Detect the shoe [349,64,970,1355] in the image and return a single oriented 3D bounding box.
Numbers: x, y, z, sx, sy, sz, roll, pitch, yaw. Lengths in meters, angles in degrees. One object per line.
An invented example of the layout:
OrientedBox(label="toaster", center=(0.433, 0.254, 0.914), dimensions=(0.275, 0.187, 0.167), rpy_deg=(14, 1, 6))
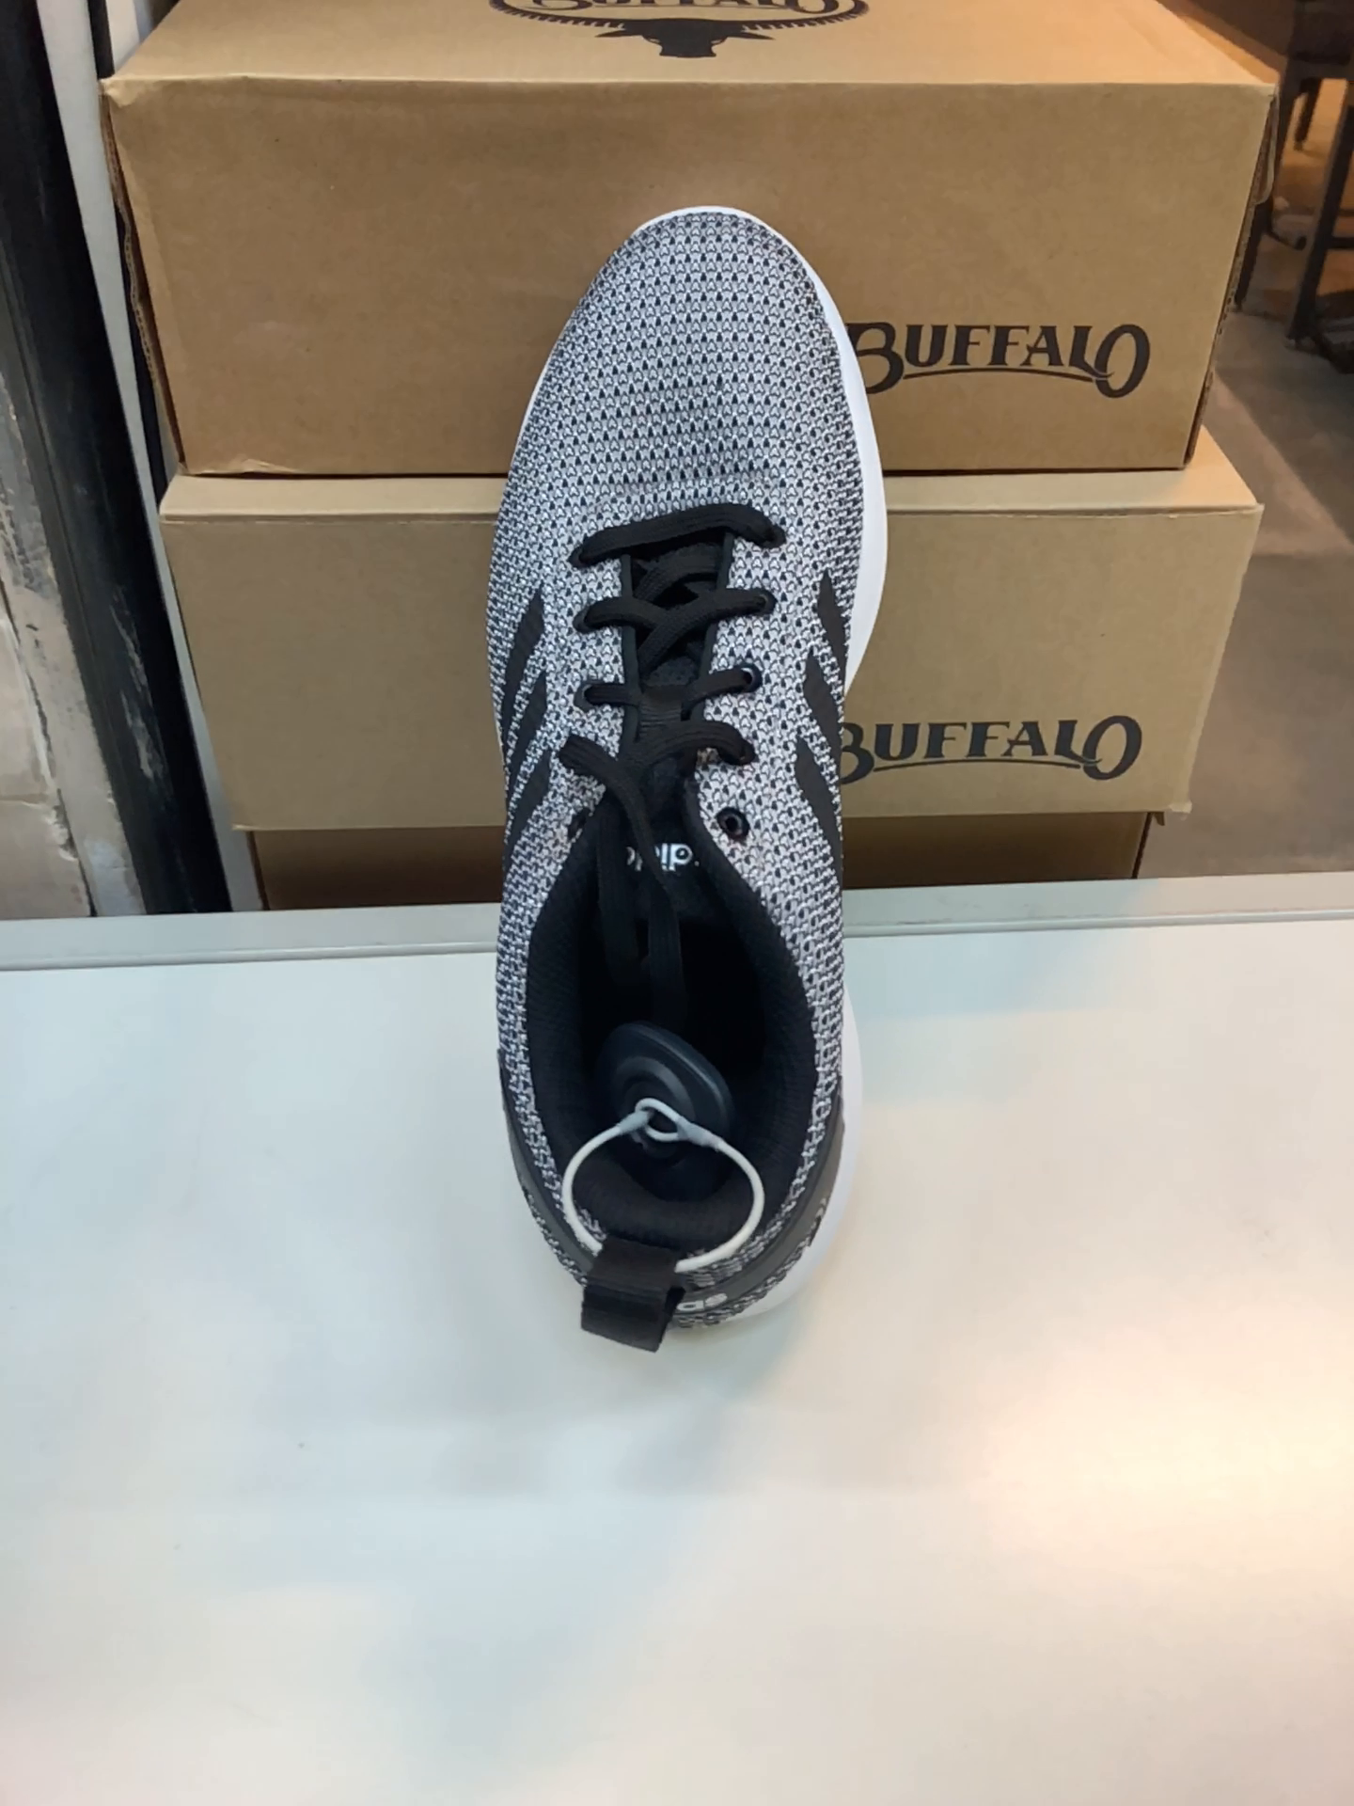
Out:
OrientedBox(label="shoe", center=(0.000, -0.042, 0.354), dimensions=(0.112, 0.098, 0.283), rpy_deg=(-1, 74, 4))
